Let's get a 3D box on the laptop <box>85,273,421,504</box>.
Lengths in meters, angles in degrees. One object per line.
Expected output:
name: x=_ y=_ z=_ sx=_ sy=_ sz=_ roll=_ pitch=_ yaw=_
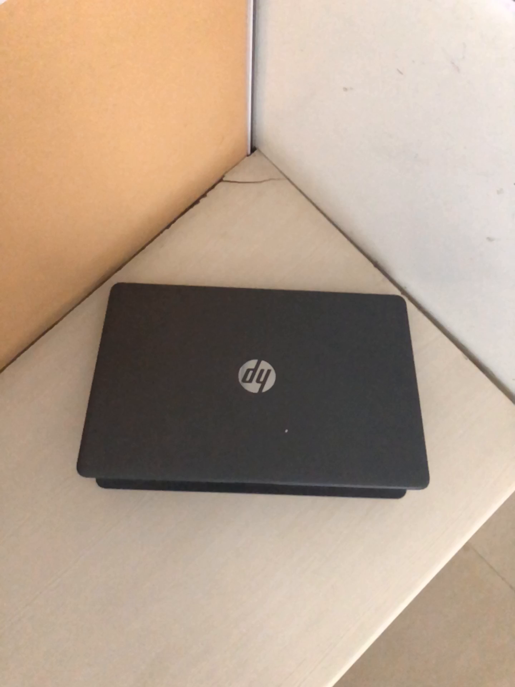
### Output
laptop: x=-0.002 y=0.054 z=0.664 sx=0.361 sy=0.074 sz=0.237 roll=2 pitch=82 yaw=-1
